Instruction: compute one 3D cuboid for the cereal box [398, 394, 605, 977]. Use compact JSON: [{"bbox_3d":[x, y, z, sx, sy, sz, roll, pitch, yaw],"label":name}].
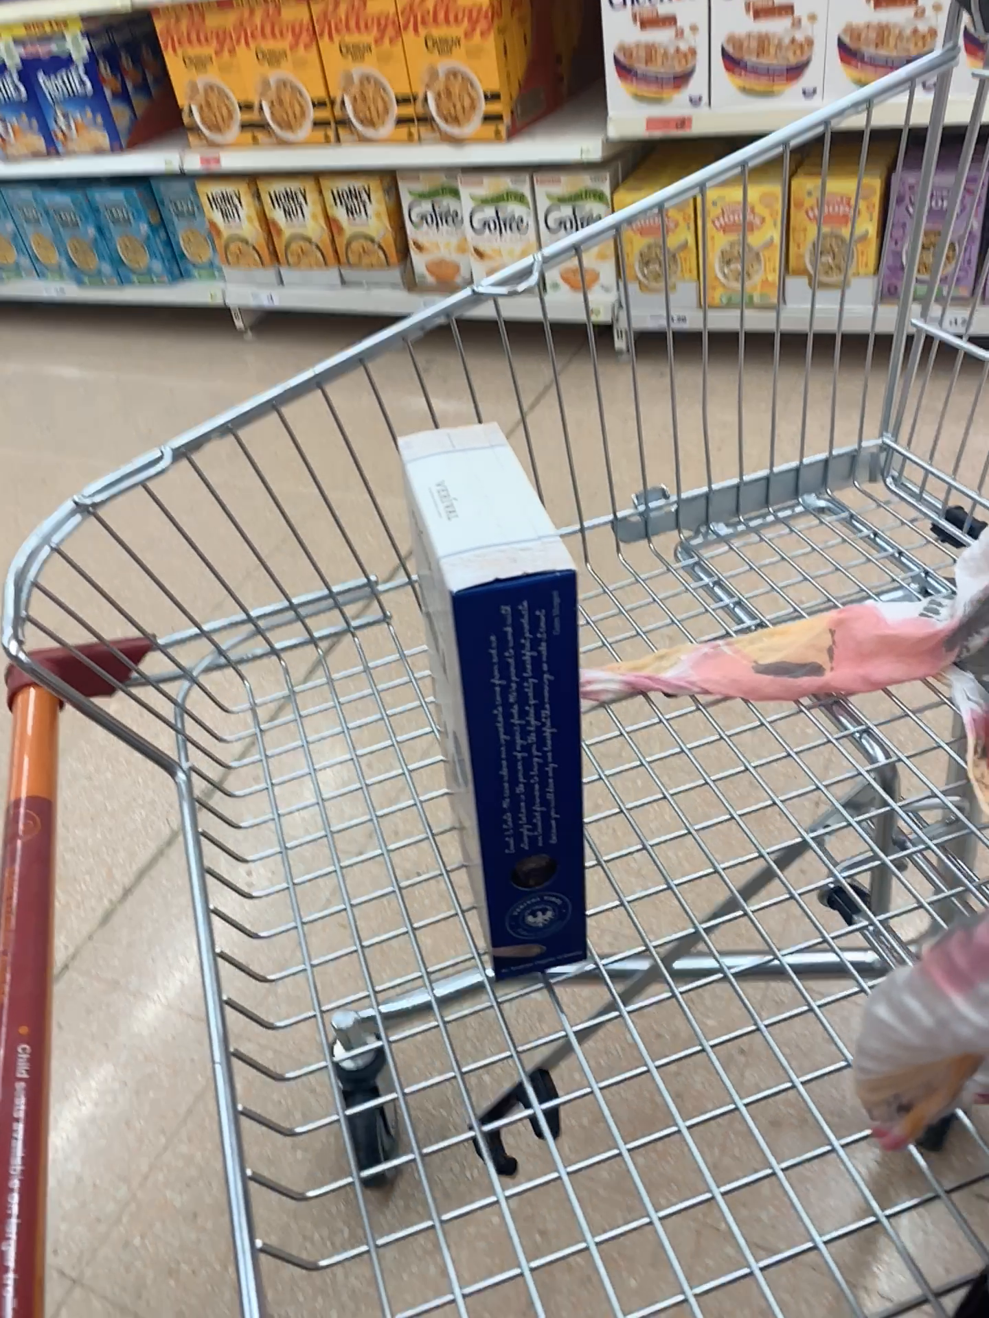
[{"bbox_3d":[0.005,0.016,0.468,0.050,0.228,0.141,-11,38,-8],"label":"cereal box"}]
